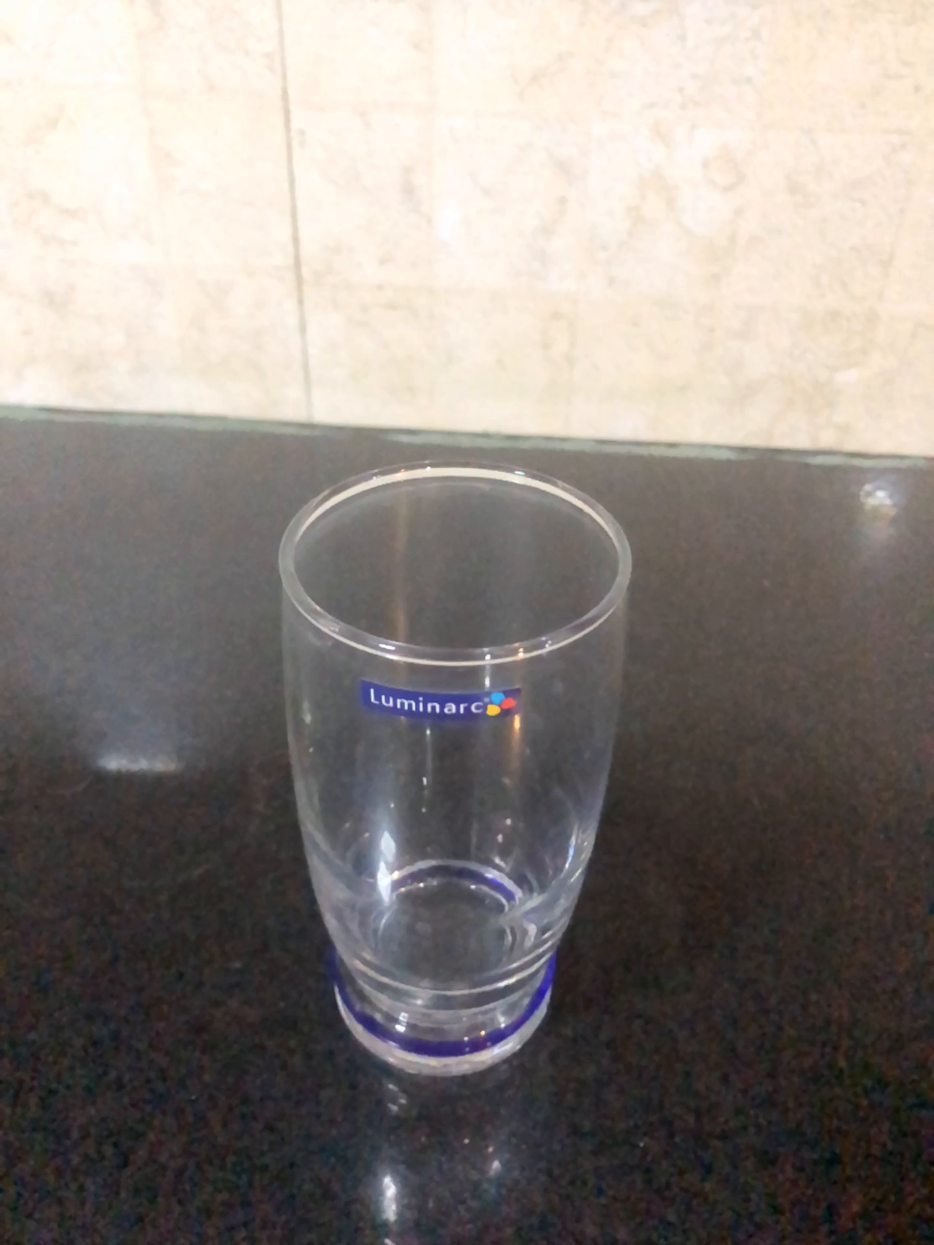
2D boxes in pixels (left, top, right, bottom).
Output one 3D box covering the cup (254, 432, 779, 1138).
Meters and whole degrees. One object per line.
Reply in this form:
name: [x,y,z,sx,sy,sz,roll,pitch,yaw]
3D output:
cup: [0.004,0.036,0.228,0.080,0.129,0.081,1,36,-1]
